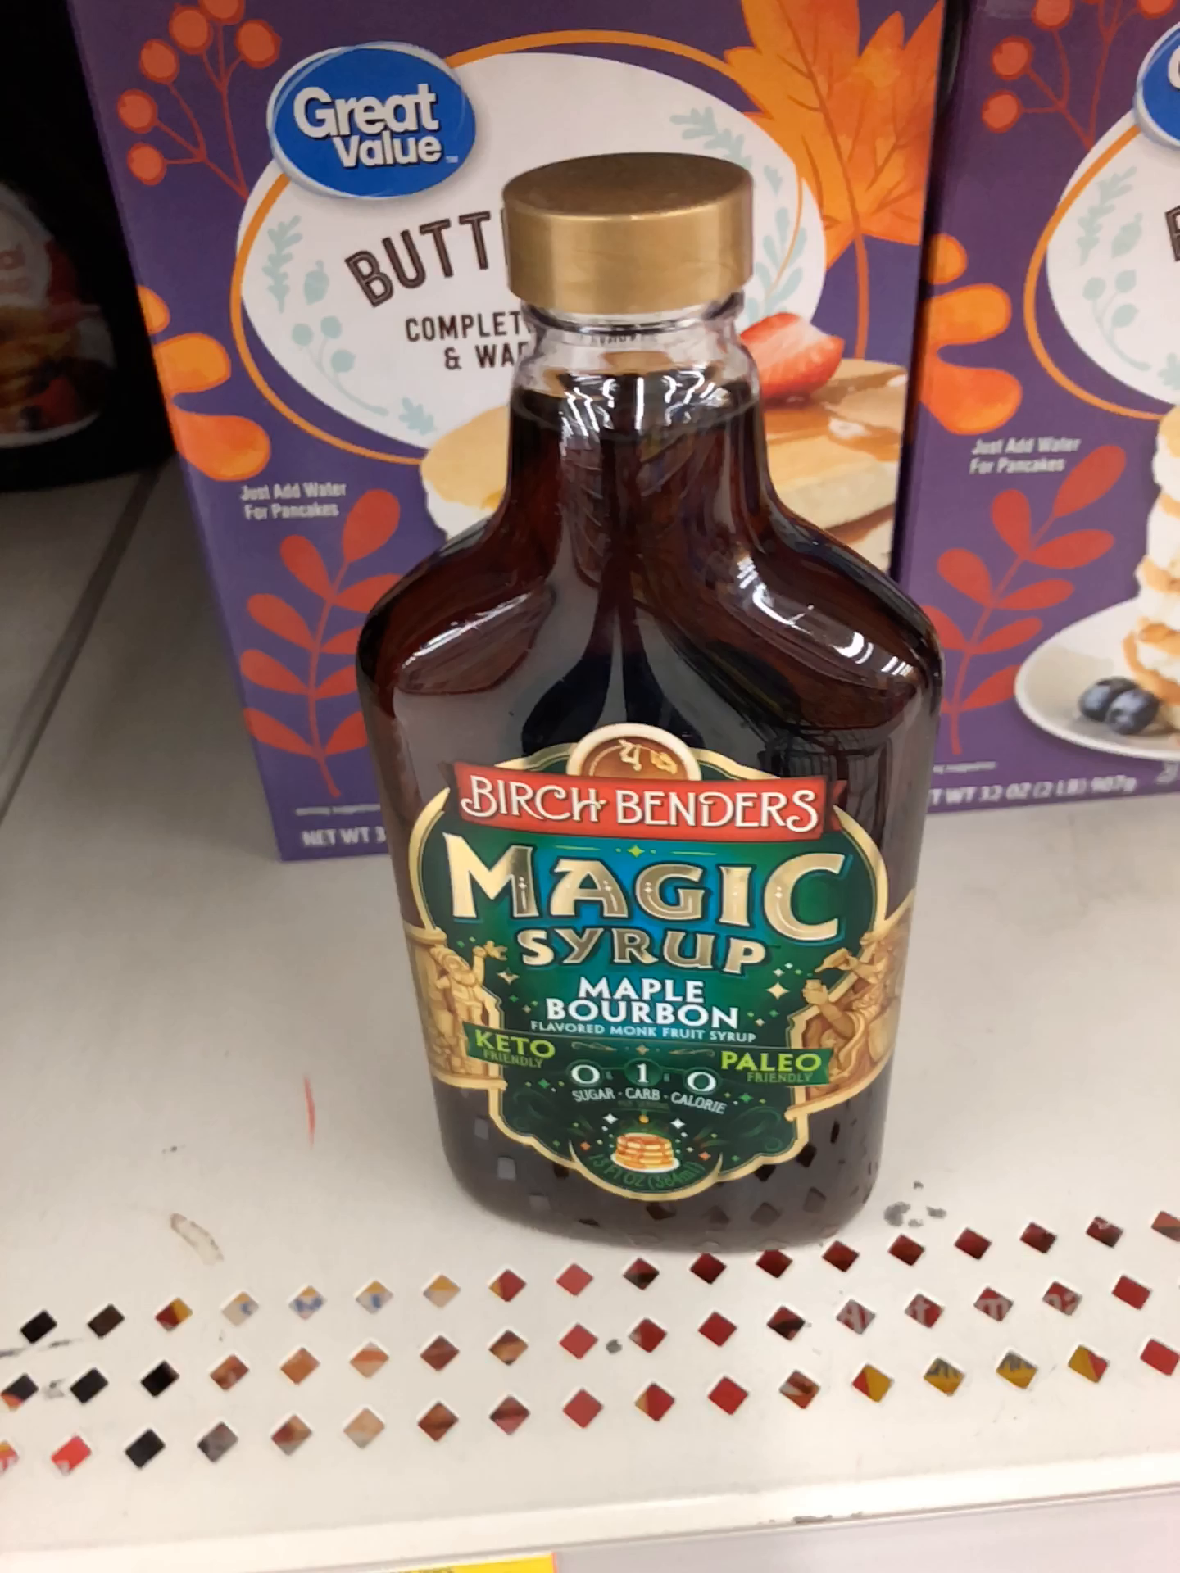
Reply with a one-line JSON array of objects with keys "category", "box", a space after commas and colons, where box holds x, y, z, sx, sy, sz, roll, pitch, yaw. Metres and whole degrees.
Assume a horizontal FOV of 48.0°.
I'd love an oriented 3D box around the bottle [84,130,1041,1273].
[{"category": "bottle", "box": [0.003, 0.000, 0.211, 0.100, 0.180, 0.050, 2, 38, 7]}]
